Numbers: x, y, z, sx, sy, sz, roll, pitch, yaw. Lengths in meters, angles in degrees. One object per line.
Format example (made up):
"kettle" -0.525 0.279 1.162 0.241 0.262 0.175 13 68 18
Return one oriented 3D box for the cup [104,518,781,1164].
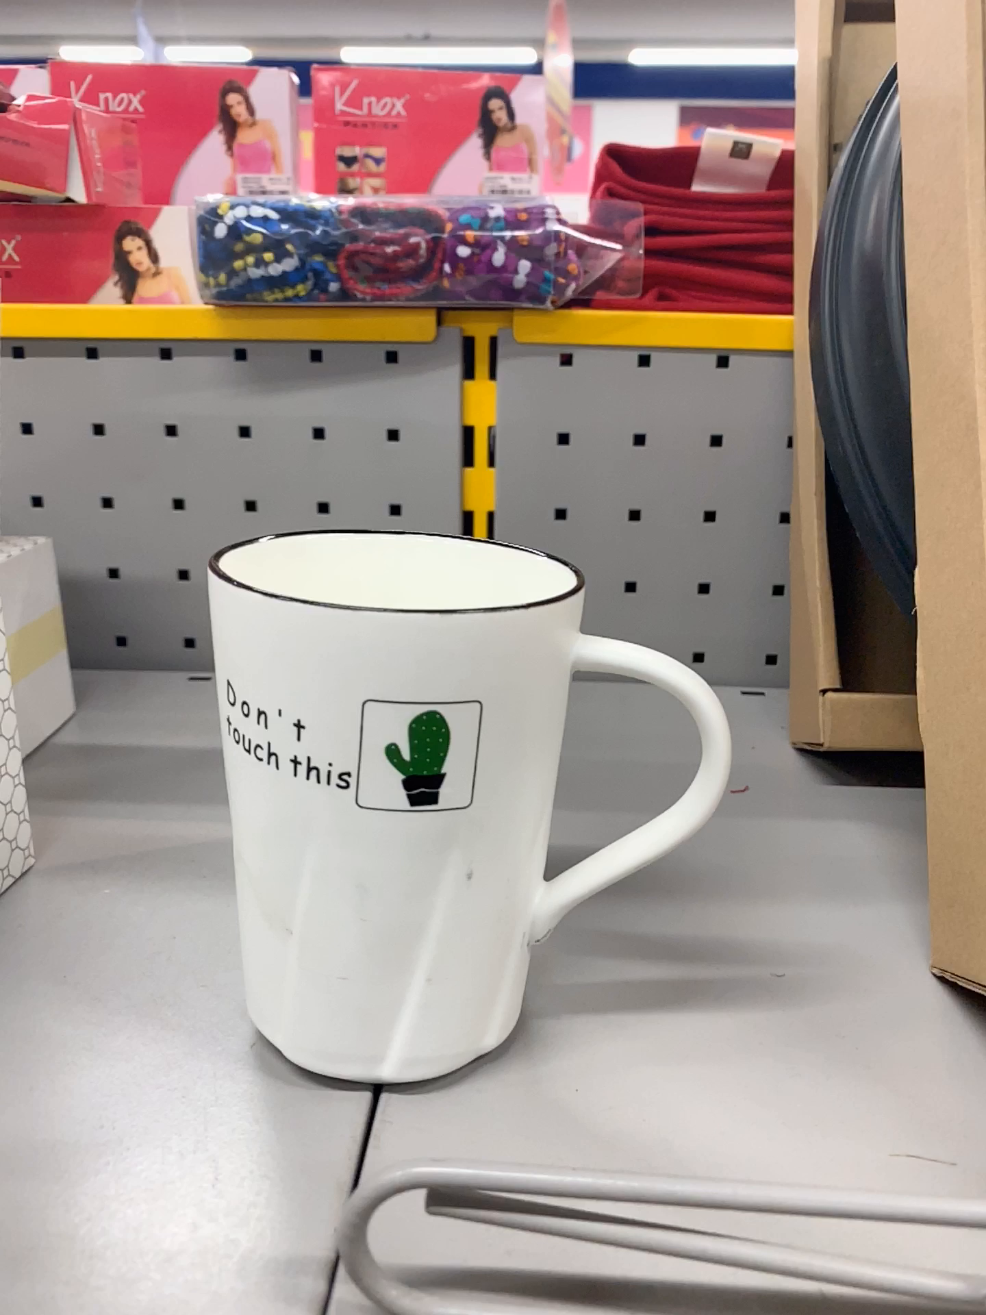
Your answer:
"cup" -0.007 0.035 0.254 0.130 0.120 0.090 3 18 7
